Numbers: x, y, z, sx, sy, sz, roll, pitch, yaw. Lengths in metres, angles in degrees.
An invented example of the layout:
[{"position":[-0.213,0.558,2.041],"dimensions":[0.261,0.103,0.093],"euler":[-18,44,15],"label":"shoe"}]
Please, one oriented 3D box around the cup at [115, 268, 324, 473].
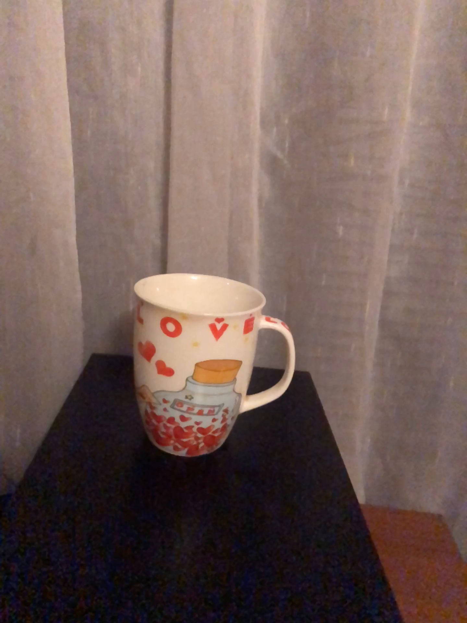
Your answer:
[{"position":[-0.011,0.034,0.331],"dimensions":[0.111,0.098,0.078],"euler":[4,18,-3],"label":"cup"}]
